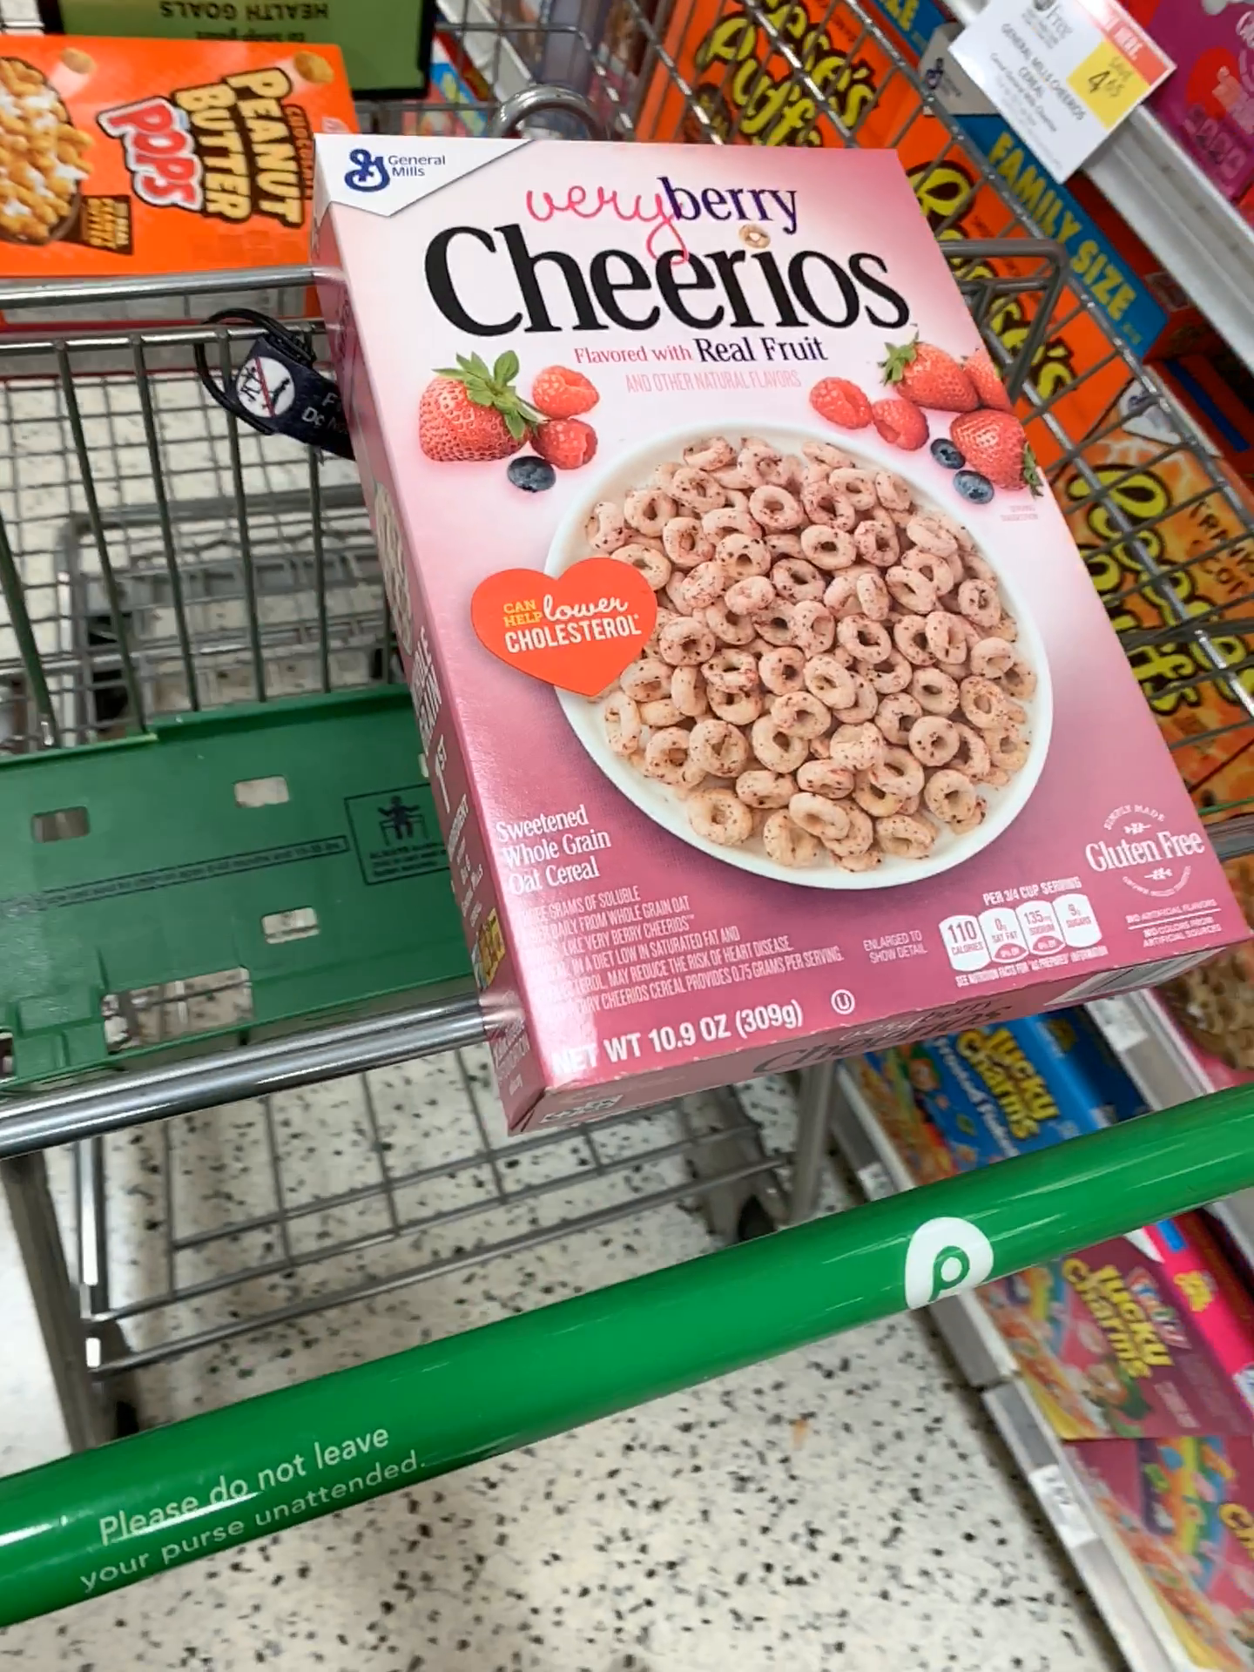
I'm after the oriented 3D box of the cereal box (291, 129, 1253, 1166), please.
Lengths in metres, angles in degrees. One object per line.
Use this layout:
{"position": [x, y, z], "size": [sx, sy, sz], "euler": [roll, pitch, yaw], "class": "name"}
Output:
{"position": [0.034, -0.073, 0.374], "size": [0.210, 0.060, 0.281], "euler": [-9, 69, -19], "class": "cereal box"}
